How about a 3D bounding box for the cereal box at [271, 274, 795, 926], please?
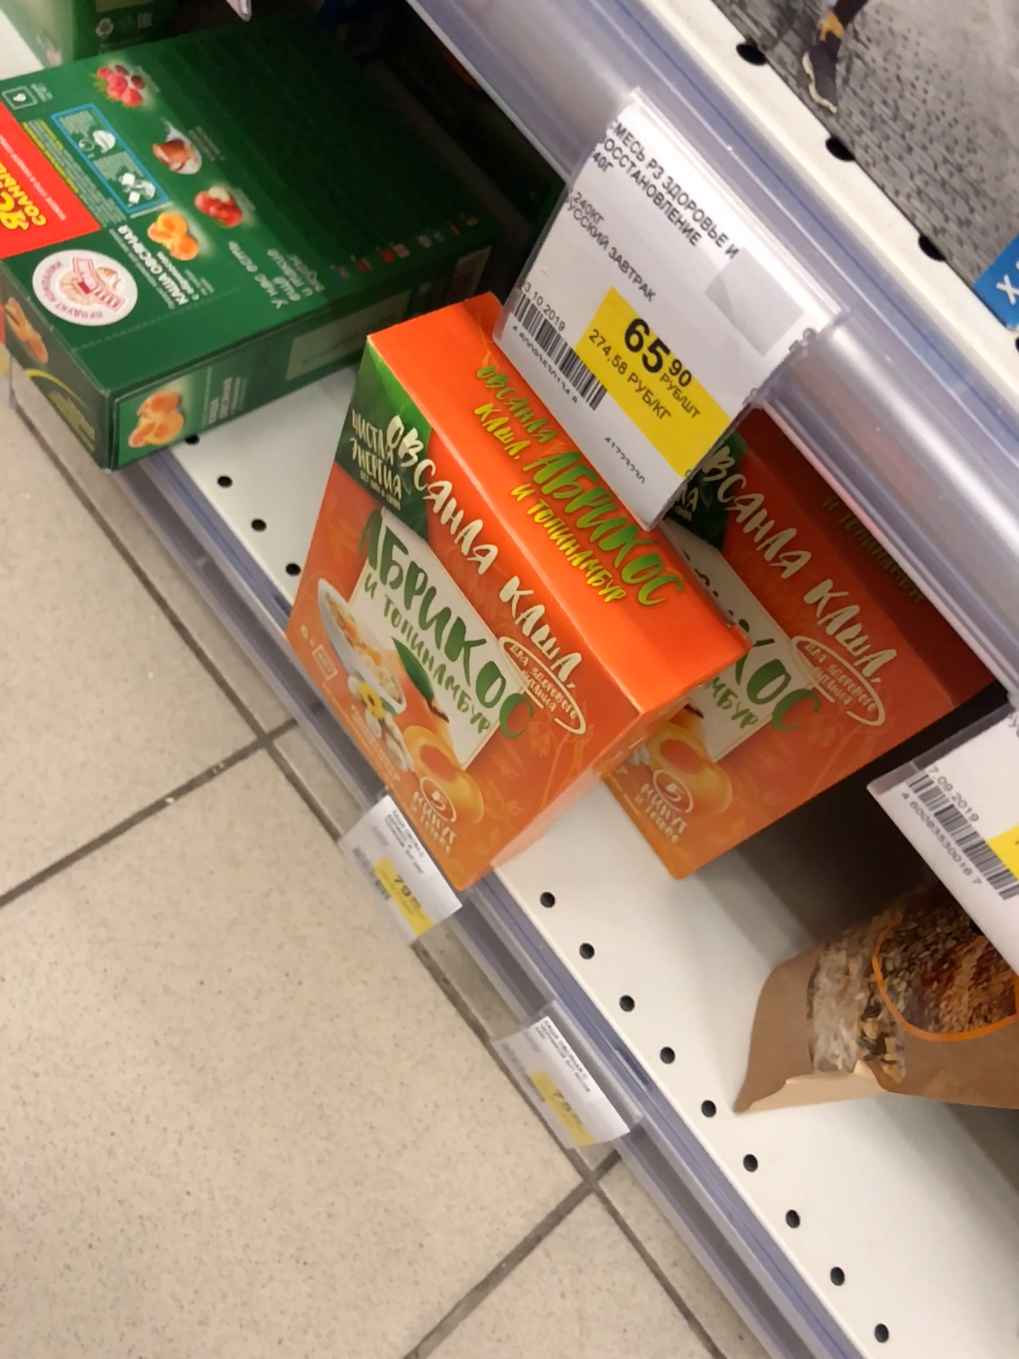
[{"bbox_3d":[-0.012,-0.010,0.380,0.050,0.189,0.140,-29,78,-28],"label":"cereal box"}]
